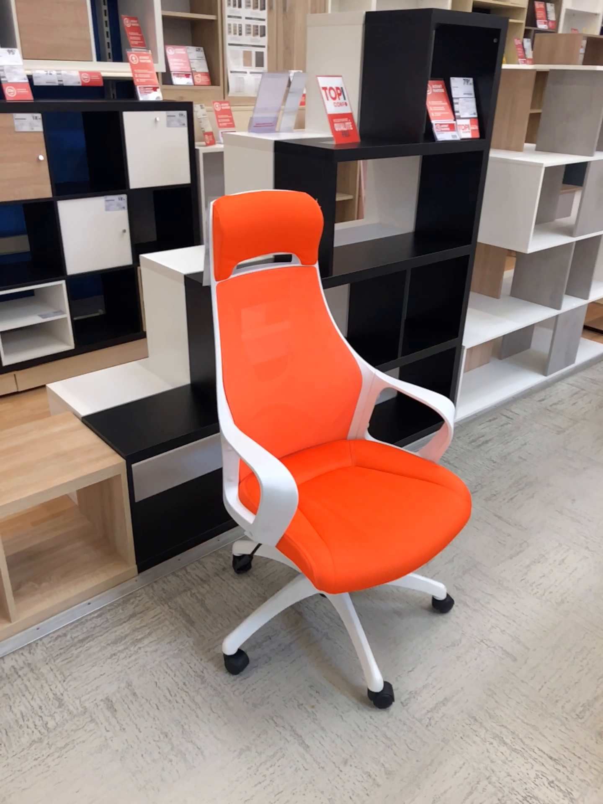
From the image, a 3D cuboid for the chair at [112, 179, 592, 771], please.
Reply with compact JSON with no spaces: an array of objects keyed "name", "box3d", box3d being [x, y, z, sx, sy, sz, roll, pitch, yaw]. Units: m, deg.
[{"name":"chair","box3d":[0.069,0.074,1.607,0.683,1.054,0.751,-18,31,-34]}]
